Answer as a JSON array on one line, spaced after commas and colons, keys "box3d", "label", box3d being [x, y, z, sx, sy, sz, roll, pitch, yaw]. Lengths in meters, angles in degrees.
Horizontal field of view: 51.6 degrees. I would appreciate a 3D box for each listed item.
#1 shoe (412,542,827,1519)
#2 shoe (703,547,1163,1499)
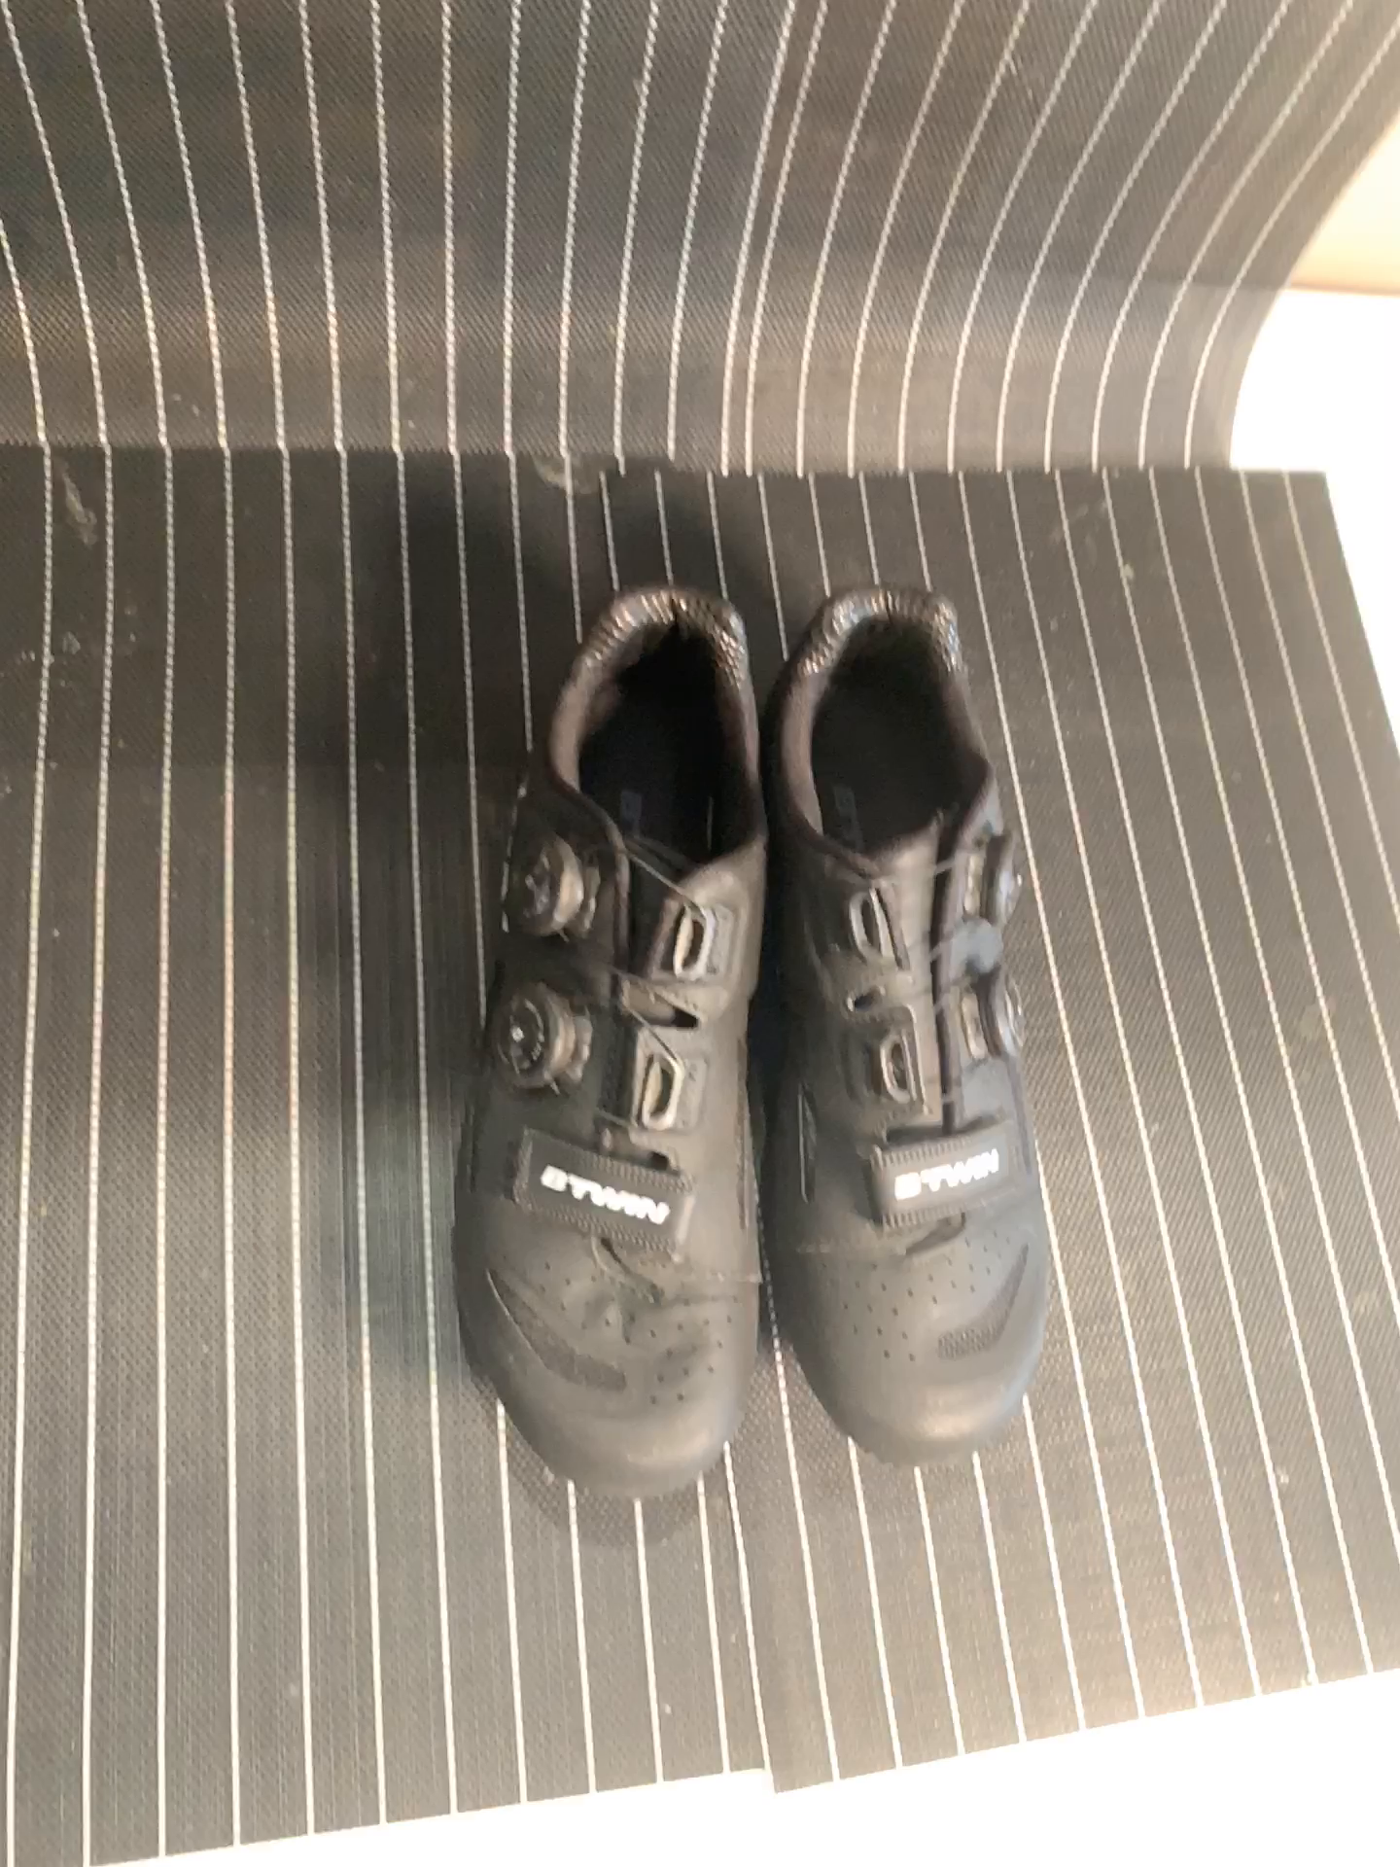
[{"box3d": [-0.022, 0.028, 0.429, 0.100, 0.090, 0.260, 4, 74, -9], "label": "shoe"}, {"box3d": [0.062, 0.026, 0.454, 0.100, 0.090, 0.270, 1, 74, -10], "label": "shoe"}]
